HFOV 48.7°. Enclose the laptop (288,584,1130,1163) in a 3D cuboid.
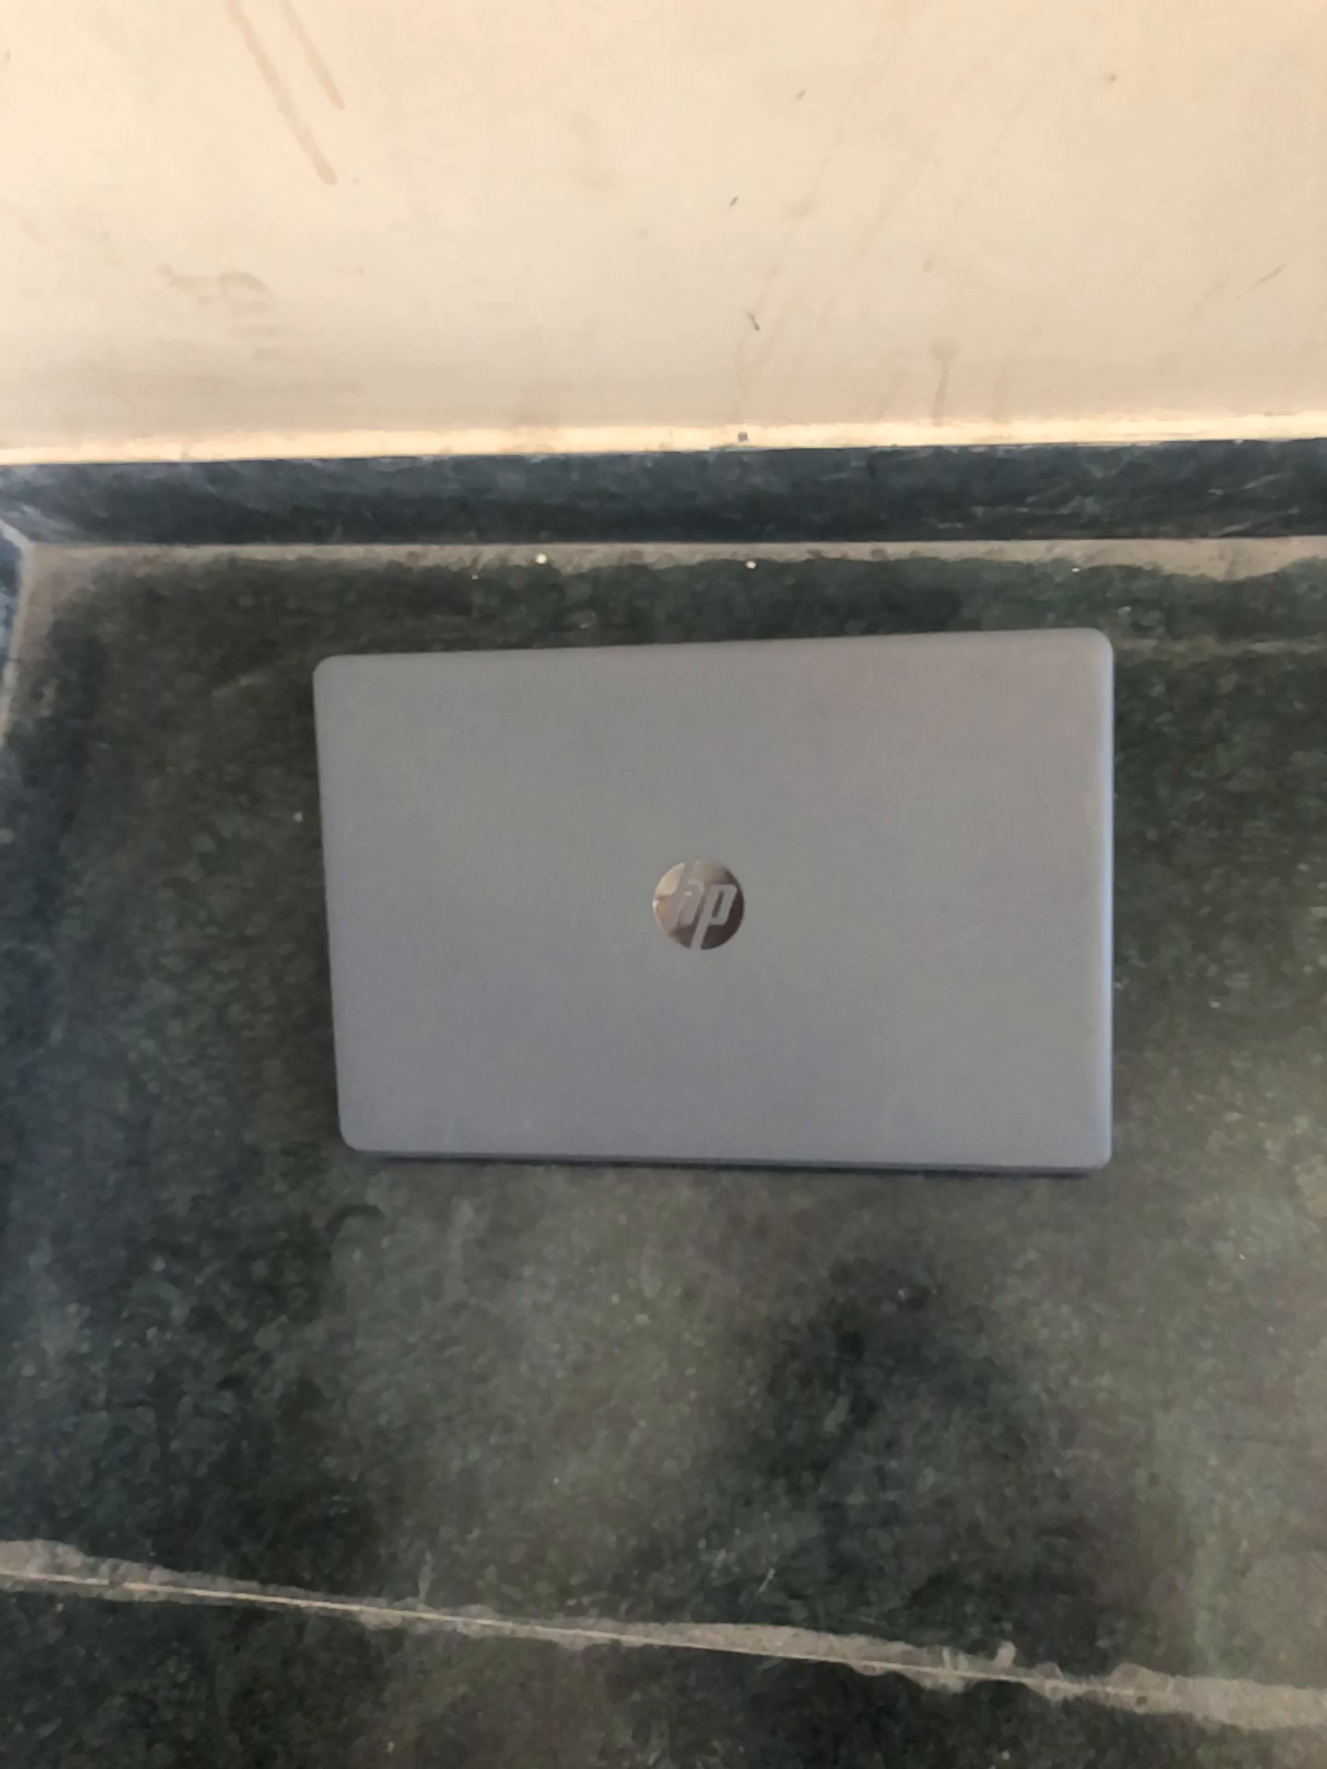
[{"bbox_3d":[0.022,0.000,0.687,0.357,0.092,0.243,0,78,9],"label":"laptop"}]
